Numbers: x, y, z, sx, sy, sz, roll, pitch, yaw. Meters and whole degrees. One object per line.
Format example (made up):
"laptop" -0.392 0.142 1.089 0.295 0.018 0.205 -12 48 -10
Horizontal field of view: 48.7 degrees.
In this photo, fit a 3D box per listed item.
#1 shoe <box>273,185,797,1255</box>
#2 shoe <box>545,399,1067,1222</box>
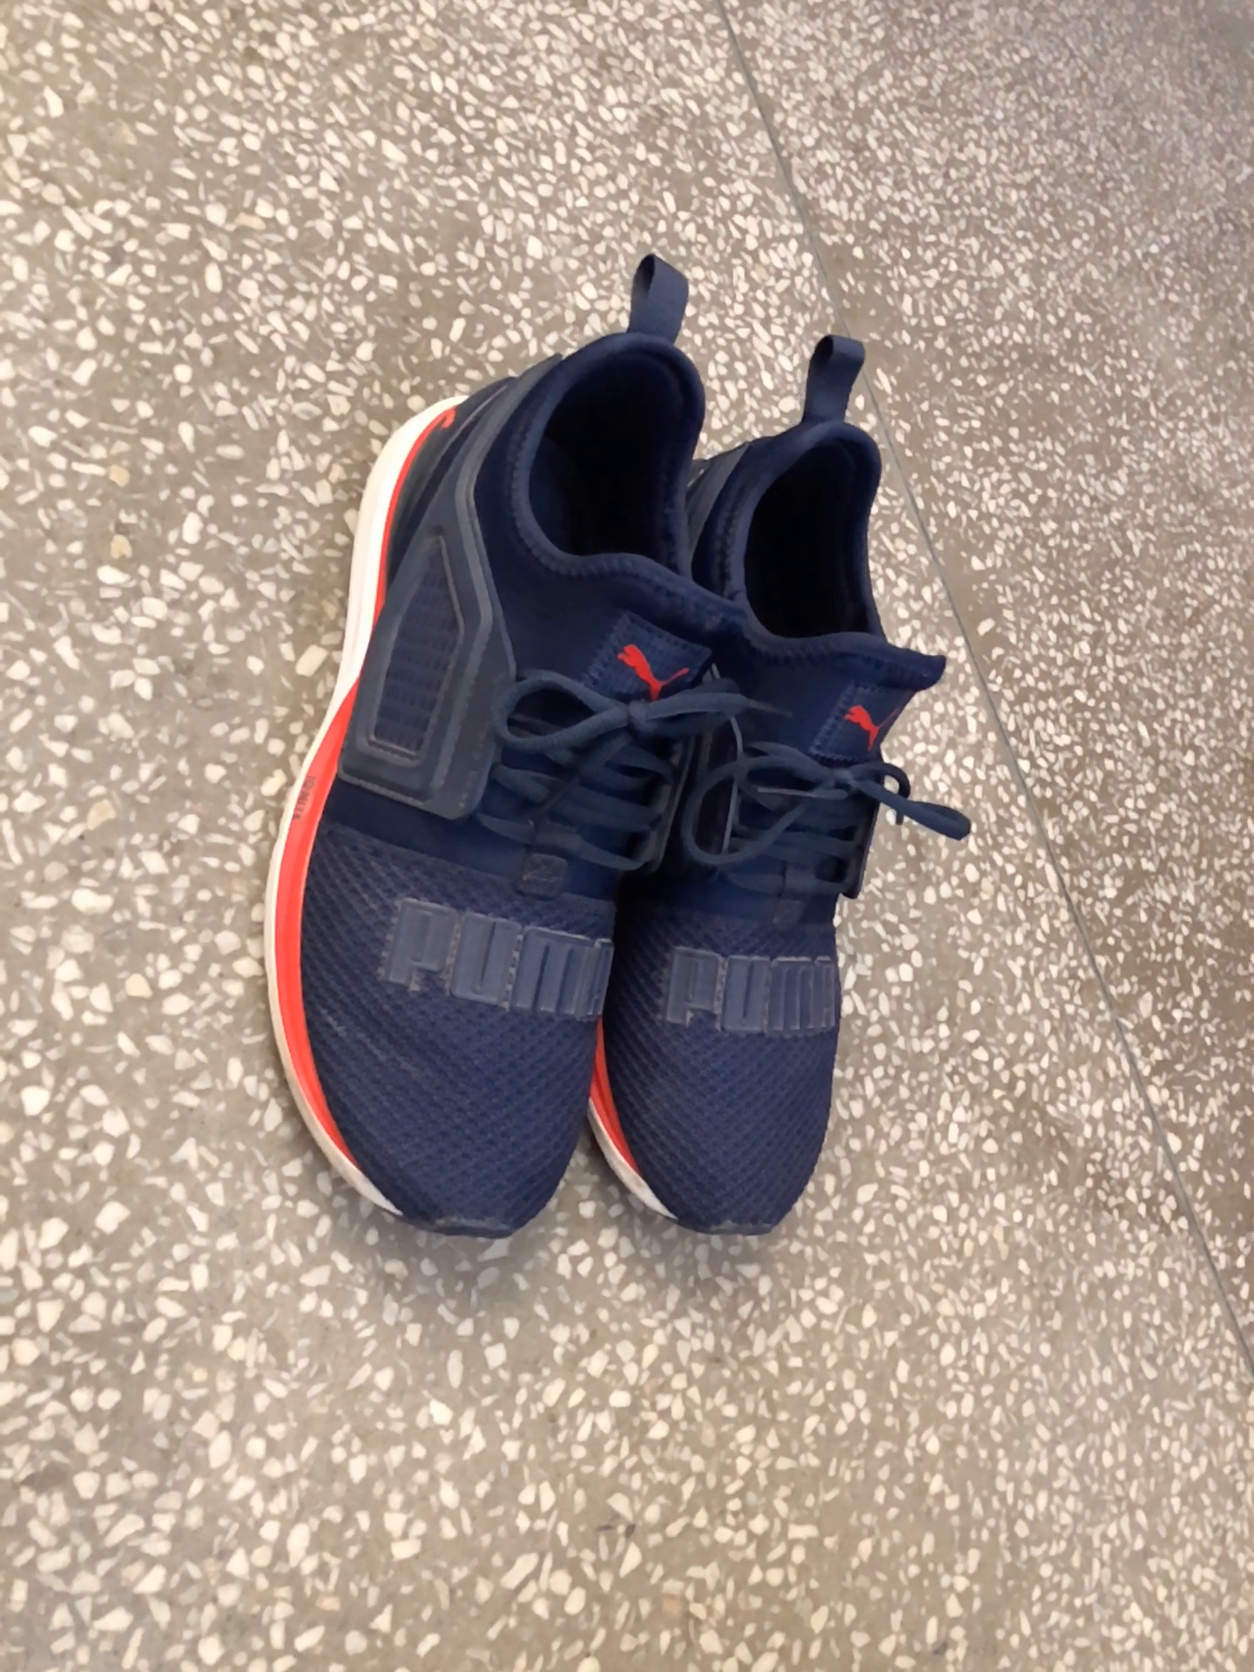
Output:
"shoe" -0.032 -0.024 0.397 0.100 0.100 0.270 8 72 -33
"shoe" 0.047 0.003 0.448 0.100 0.120 0.230 6 73 -28
